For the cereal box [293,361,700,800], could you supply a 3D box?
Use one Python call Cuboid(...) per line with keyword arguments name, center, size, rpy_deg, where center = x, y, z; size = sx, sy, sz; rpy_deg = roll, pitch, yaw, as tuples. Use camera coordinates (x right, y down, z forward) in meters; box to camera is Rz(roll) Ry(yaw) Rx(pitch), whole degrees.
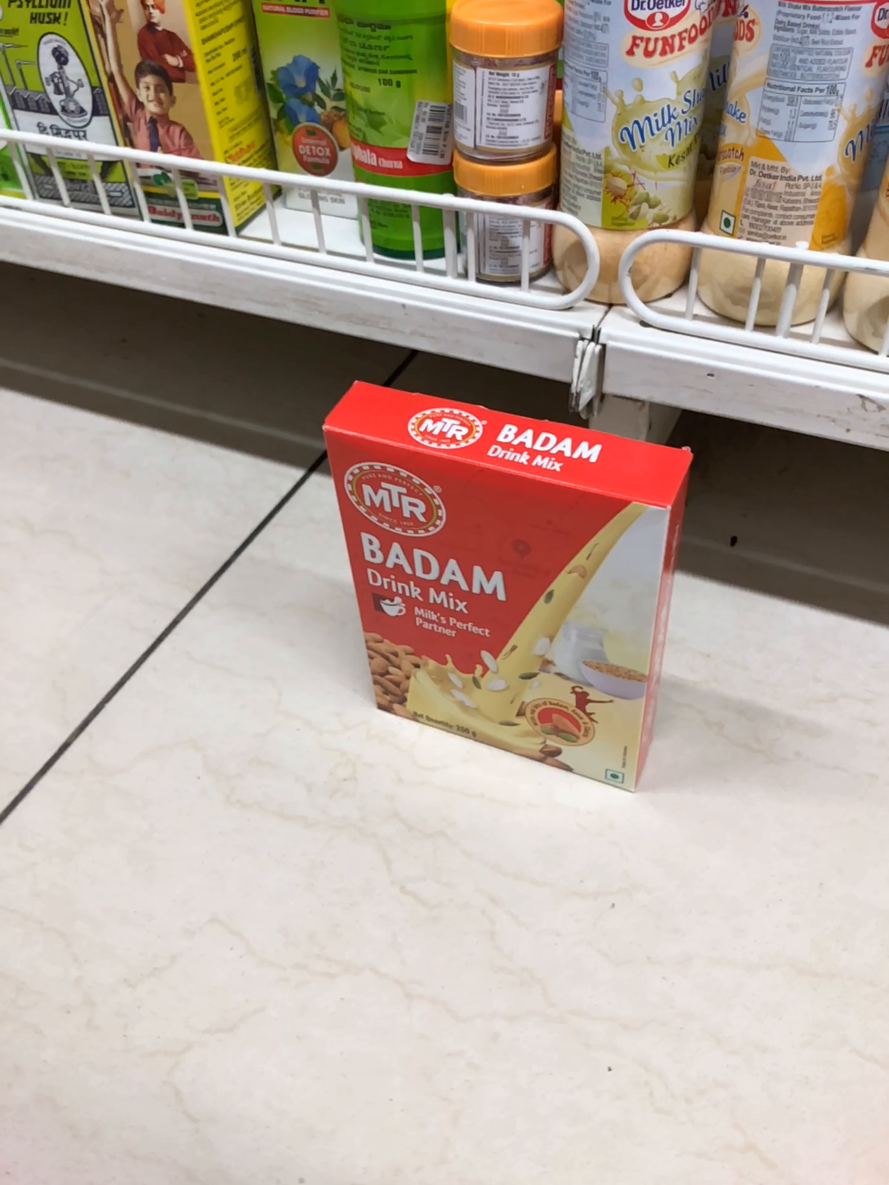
Cuboid(name="cereal box", center=(0.020, 0.000, 0.385), size=(0.130, 0.159, 0.040), rpy_deg=(15, 48, 18))
